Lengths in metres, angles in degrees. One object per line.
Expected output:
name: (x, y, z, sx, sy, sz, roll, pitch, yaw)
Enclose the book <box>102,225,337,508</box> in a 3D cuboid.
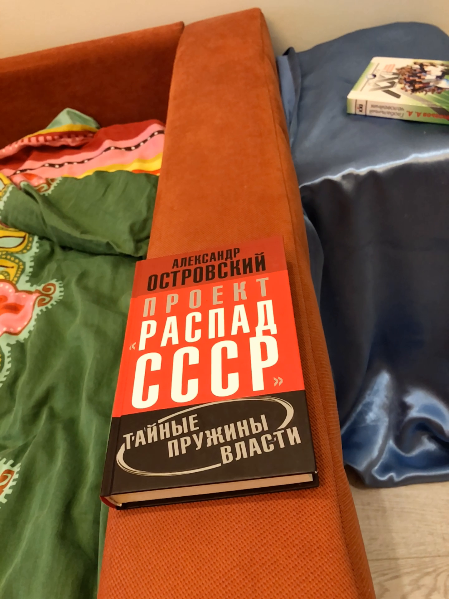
book: (-0.005, 0.035, 0.363, 0.135, 0.030, 0.208, -9, 47, 8)
